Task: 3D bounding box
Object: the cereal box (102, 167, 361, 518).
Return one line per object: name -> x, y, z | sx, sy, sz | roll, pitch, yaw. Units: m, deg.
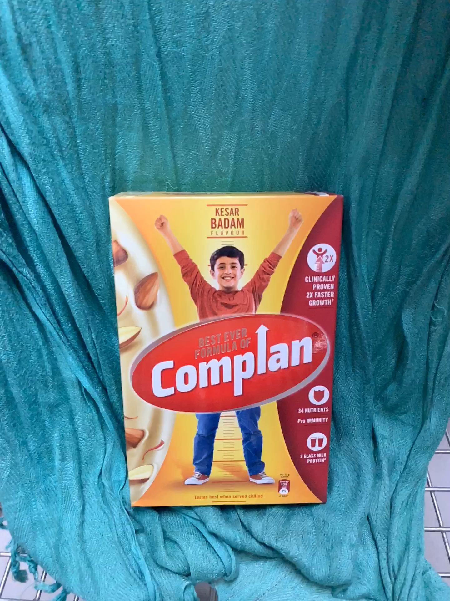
cereal box -> 0.007, 0.025, 0.293 | 0.140, 0.200, 0.060 | -2, 8, 1
